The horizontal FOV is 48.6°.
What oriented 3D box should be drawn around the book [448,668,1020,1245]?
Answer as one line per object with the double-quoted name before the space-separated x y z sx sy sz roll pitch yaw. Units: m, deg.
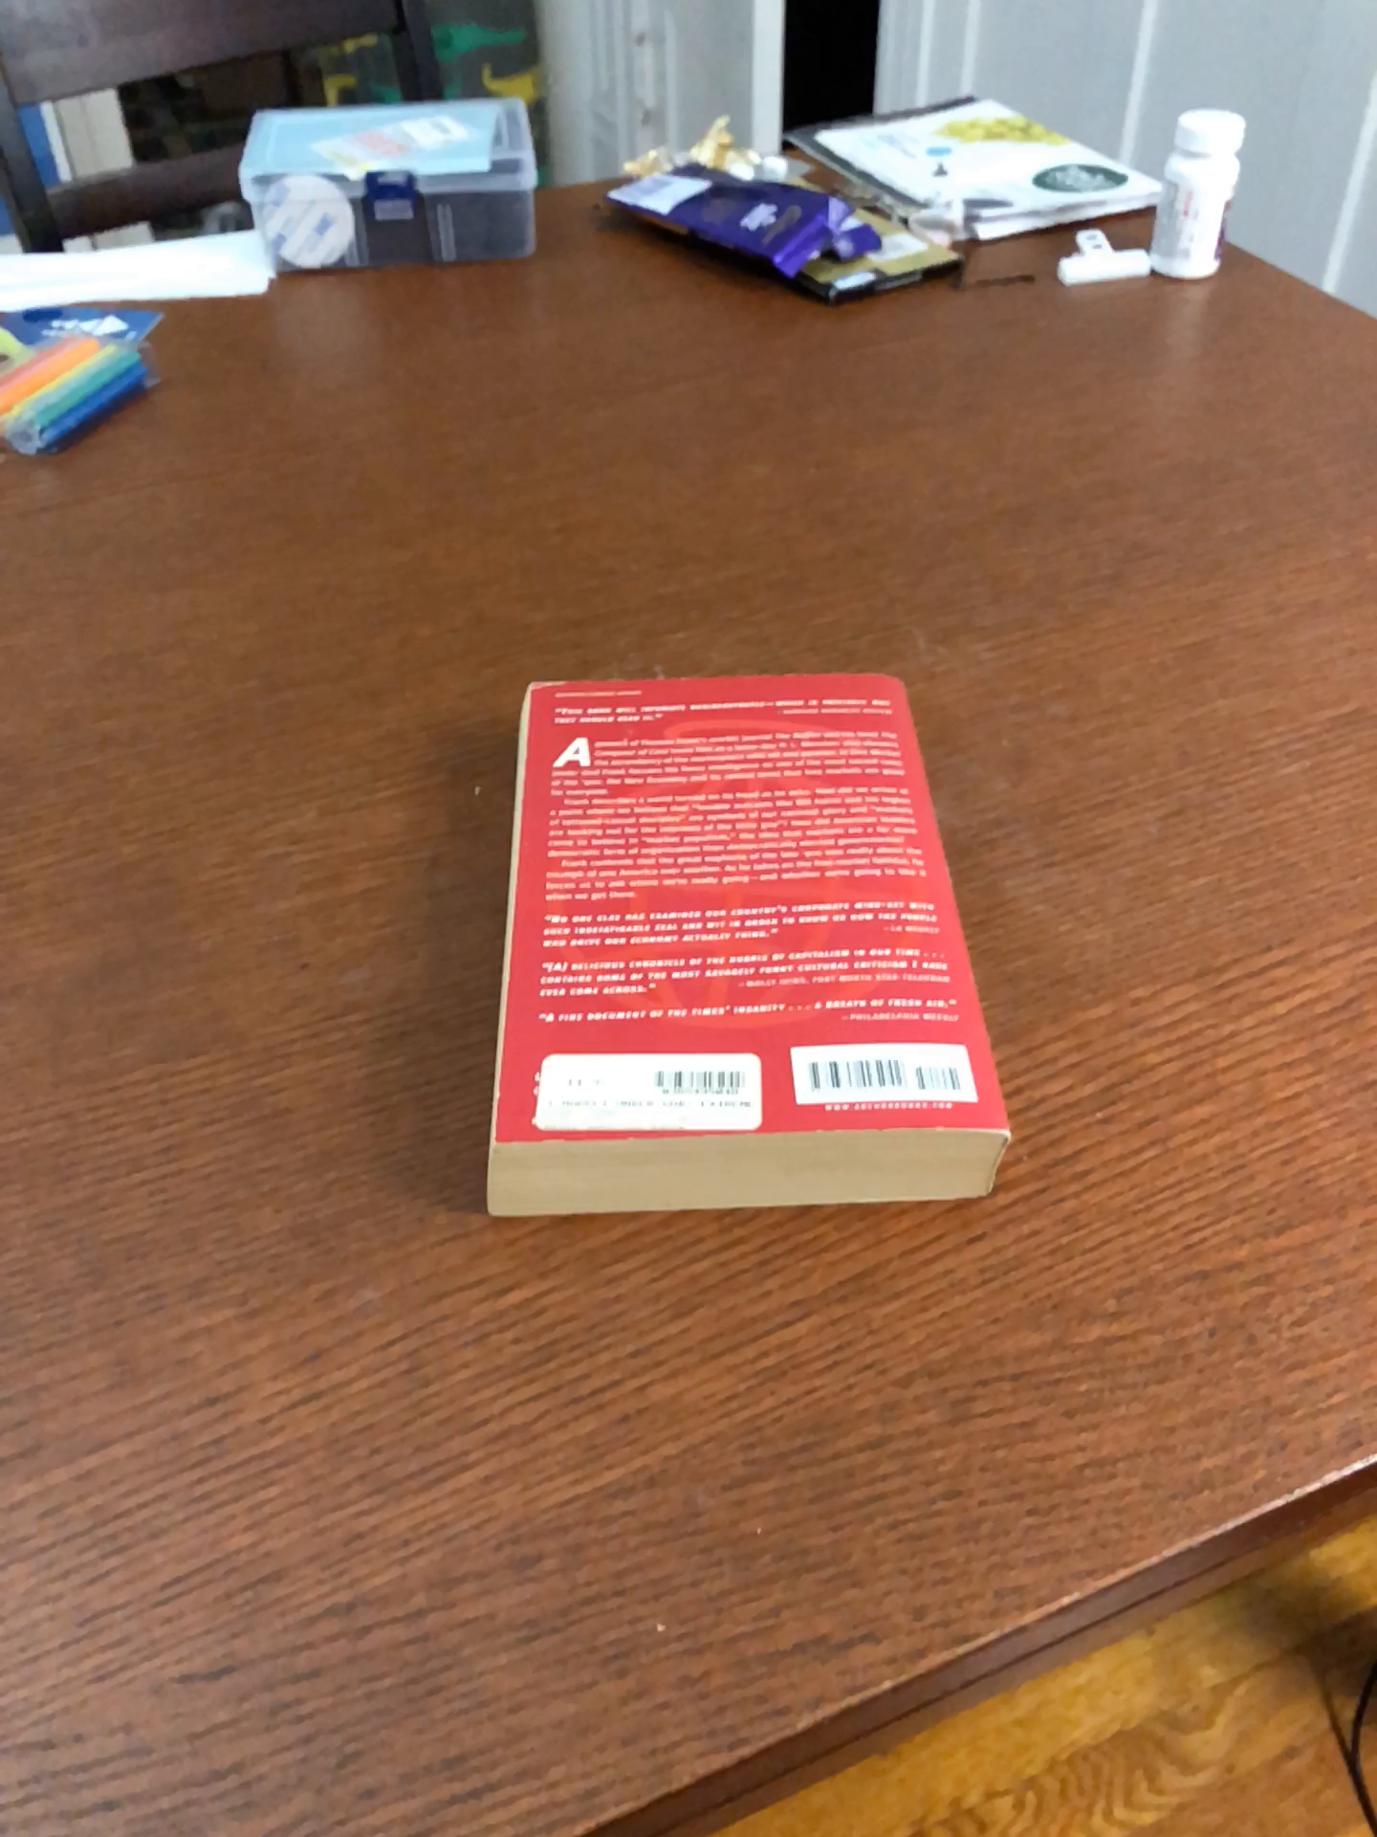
"book" 0.008 -0.002 0.460 0.140 0.030 0.211 -2 43 -1
